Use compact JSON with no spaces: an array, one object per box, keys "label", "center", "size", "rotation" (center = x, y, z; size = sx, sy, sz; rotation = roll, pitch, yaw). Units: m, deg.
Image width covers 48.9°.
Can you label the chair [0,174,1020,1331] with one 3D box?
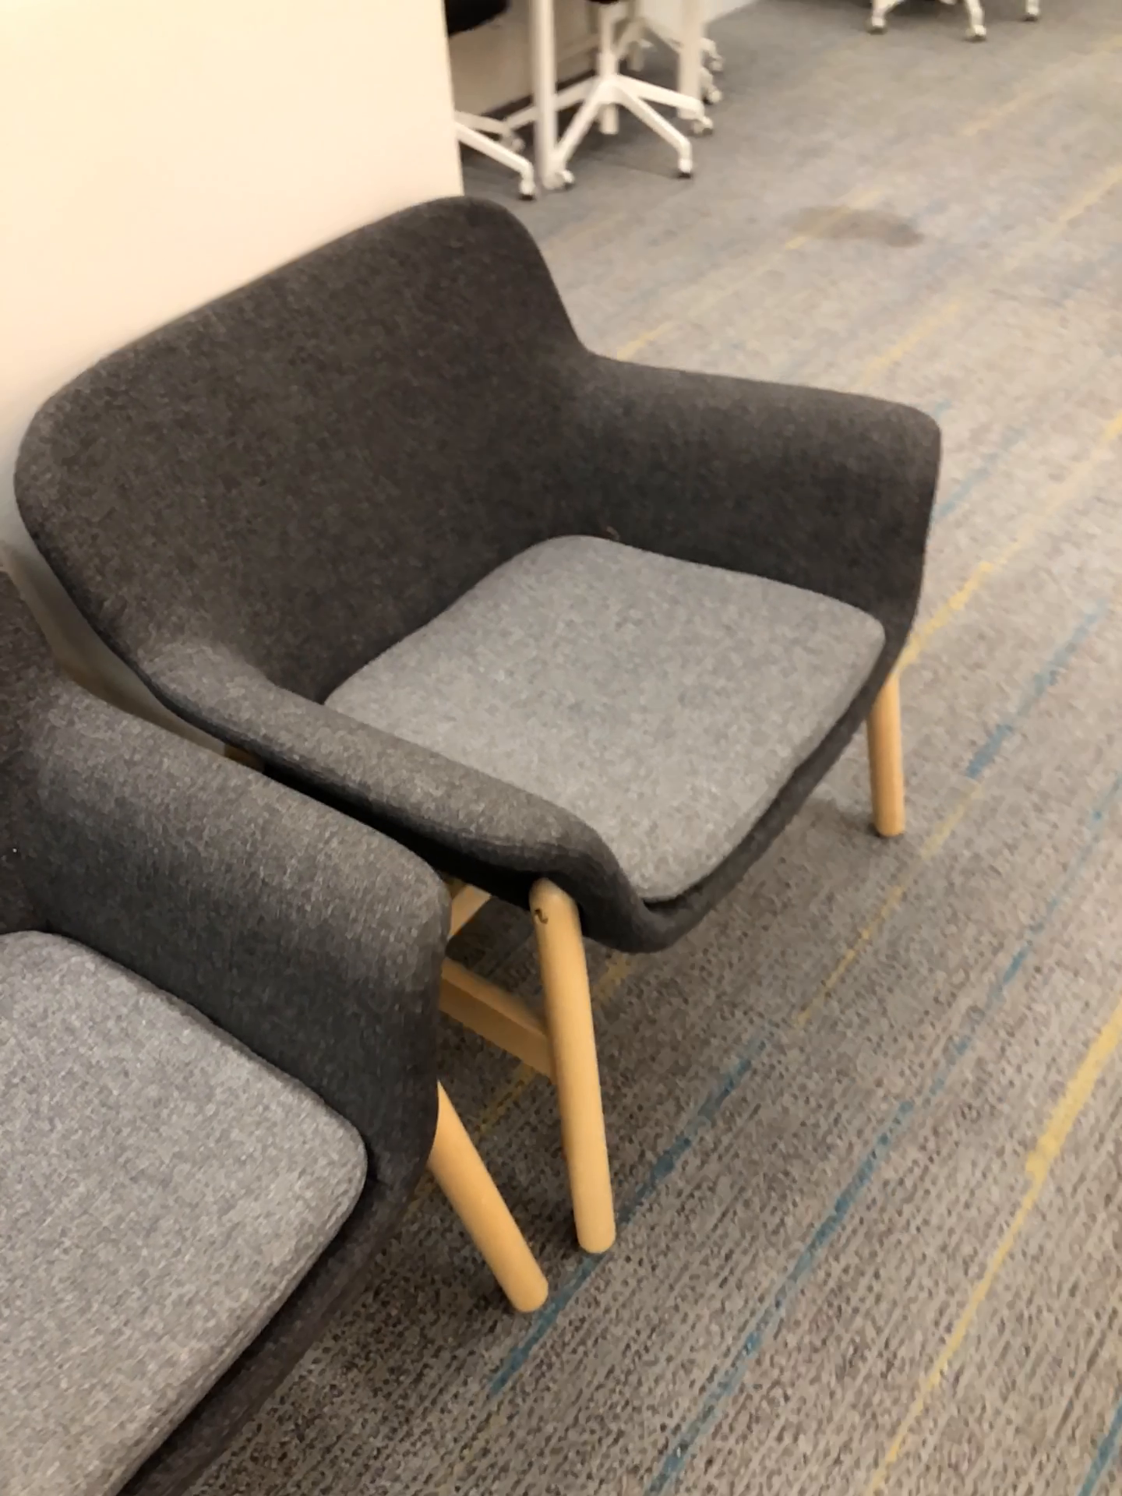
[{"label":"chair","center":[-0.071,-0.044,1.405],"size":[0.733,0.834,0.742],"rotation":[28,52,31]}]
